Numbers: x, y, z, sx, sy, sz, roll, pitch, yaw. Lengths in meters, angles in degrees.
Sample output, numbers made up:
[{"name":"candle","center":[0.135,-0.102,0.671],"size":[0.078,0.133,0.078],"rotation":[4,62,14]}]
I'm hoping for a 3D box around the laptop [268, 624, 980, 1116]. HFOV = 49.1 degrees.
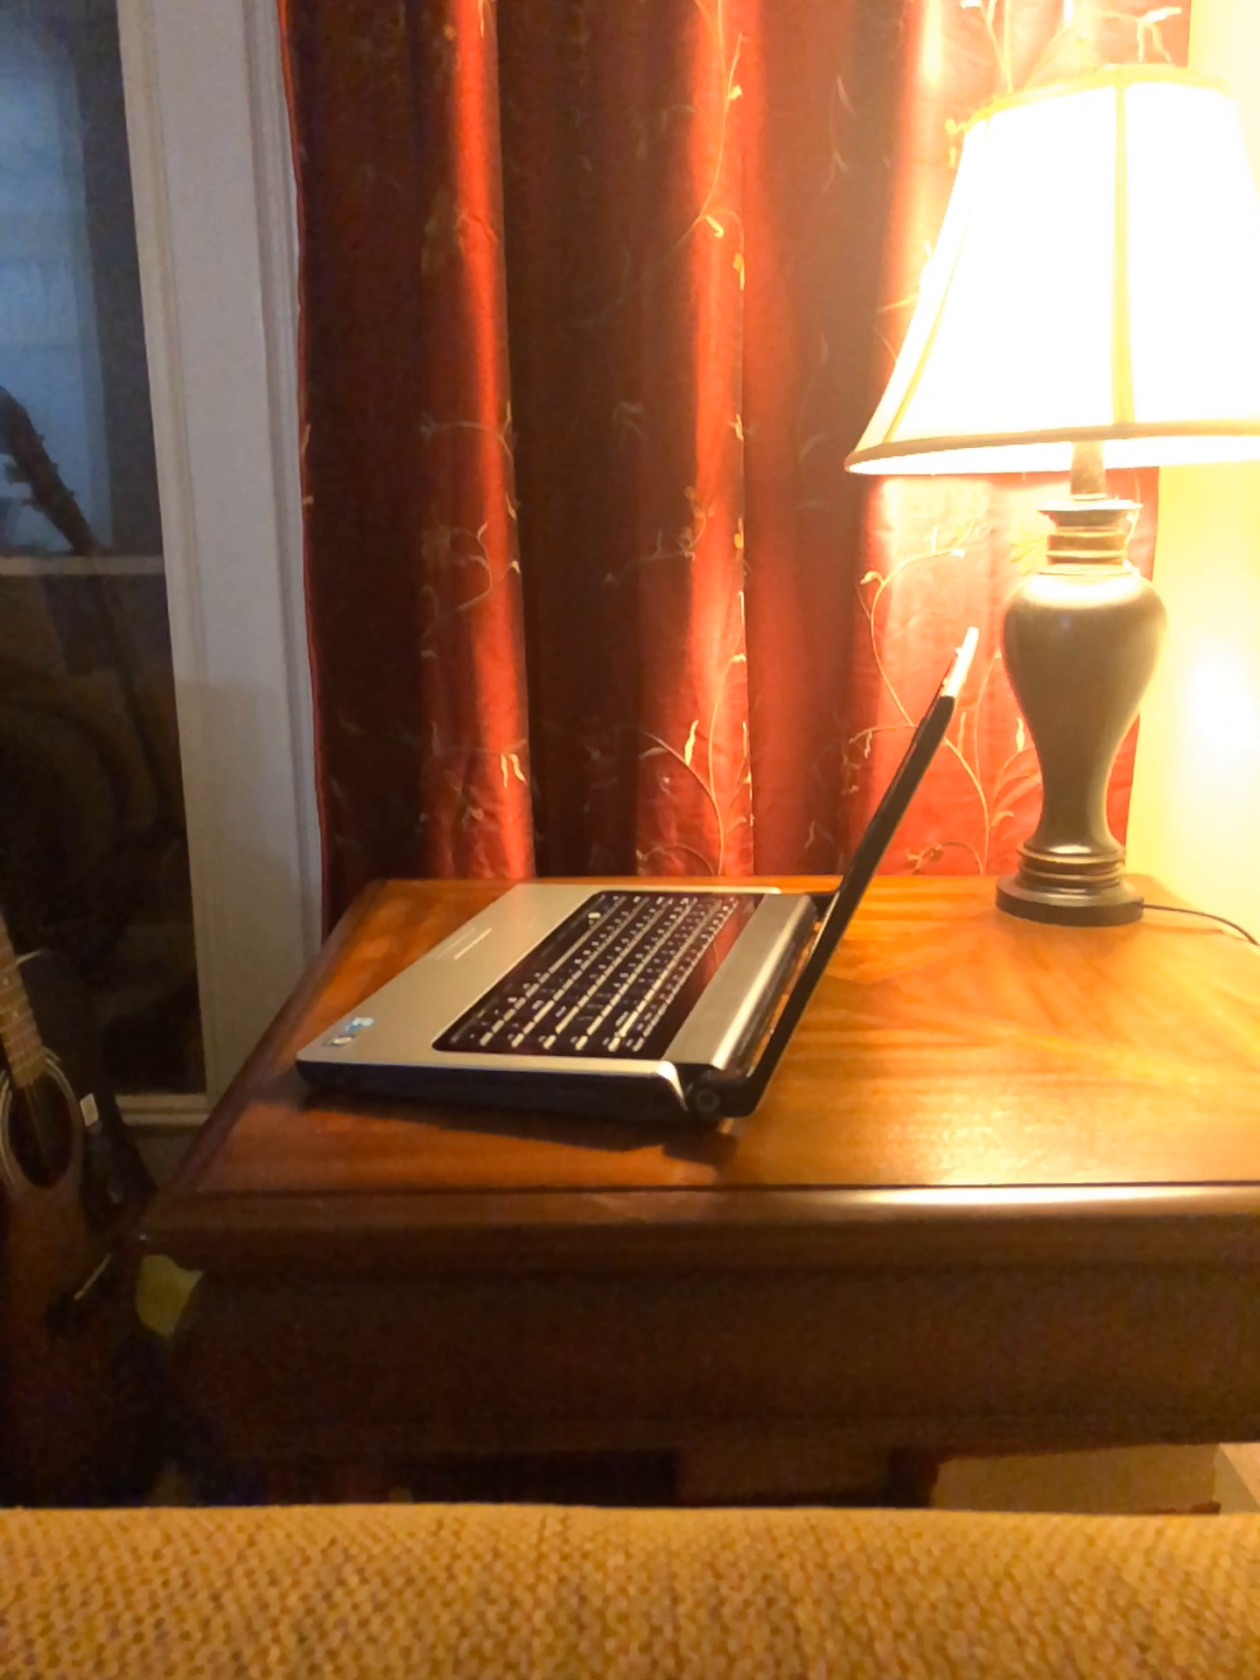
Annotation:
[{"name":"laptop","center":[0.030,-0.015,0.866],"size":[0.350,0.204,0.363],"rotation":[3,14,14]}]
